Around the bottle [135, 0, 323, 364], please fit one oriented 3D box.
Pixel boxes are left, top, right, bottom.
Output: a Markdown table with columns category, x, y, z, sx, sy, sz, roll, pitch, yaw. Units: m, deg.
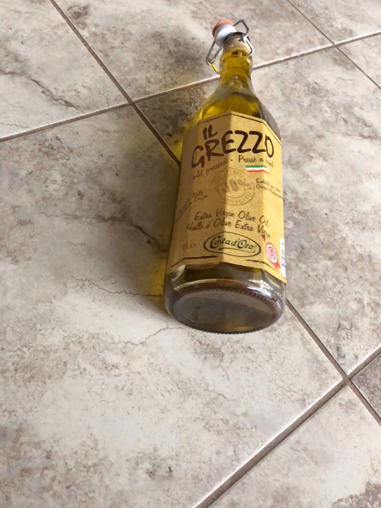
| category | x | y | z | sx | sy | sz | roll | pitch | yaw |
| --- | --- | --- | --- | --- | --- | --- | --- | --- | --- |
| bottle | 0.043 | -0.100 | 0.361 | 0.090 | 0.100 | 0.351 | 15 | 56 | -7 |
